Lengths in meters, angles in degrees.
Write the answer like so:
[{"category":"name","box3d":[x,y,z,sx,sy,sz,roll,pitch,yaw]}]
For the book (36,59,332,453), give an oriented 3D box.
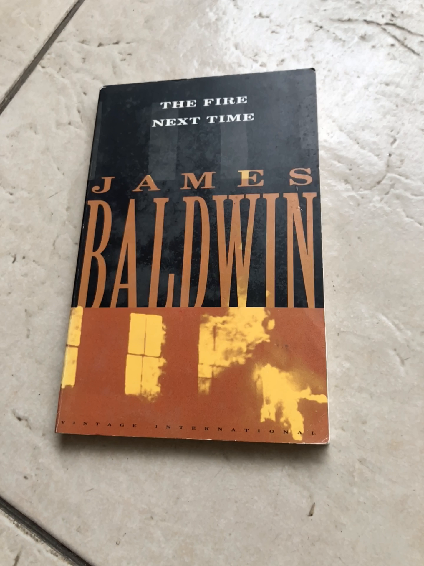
[{"category":"book","box3d":[-0.010,-0.023,0.242,0.130,0.016,0.200,0,72,9]}]
